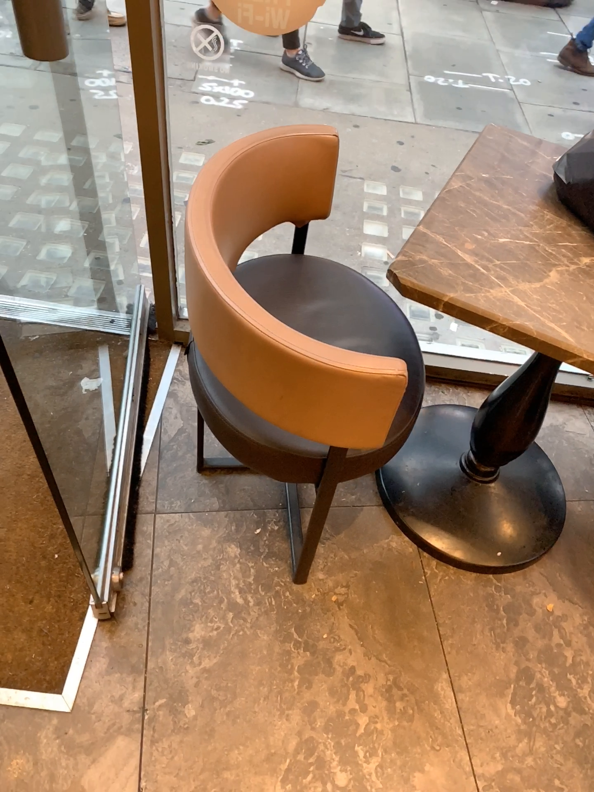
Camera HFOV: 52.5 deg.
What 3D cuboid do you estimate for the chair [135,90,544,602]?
[{"bbox_3d":[0.039,-0.098,1.242,0.510,0.654,0.767,6,49,-3],"label":"chair"}]
